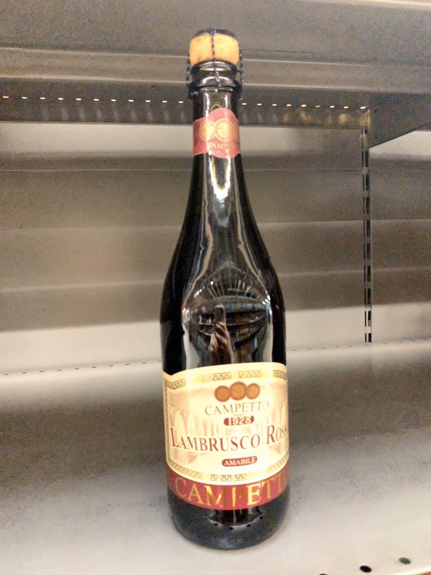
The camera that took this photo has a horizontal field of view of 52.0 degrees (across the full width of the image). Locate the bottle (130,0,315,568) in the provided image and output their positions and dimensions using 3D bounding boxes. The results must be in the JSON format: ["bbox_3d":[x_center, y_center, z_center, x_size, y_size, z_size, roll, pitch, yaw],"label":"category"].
[{"bbox_3d":[0.001,-0.002,0.278,0.090,0.300,0.080,-3,5,-13],"label":"bottle"}]
